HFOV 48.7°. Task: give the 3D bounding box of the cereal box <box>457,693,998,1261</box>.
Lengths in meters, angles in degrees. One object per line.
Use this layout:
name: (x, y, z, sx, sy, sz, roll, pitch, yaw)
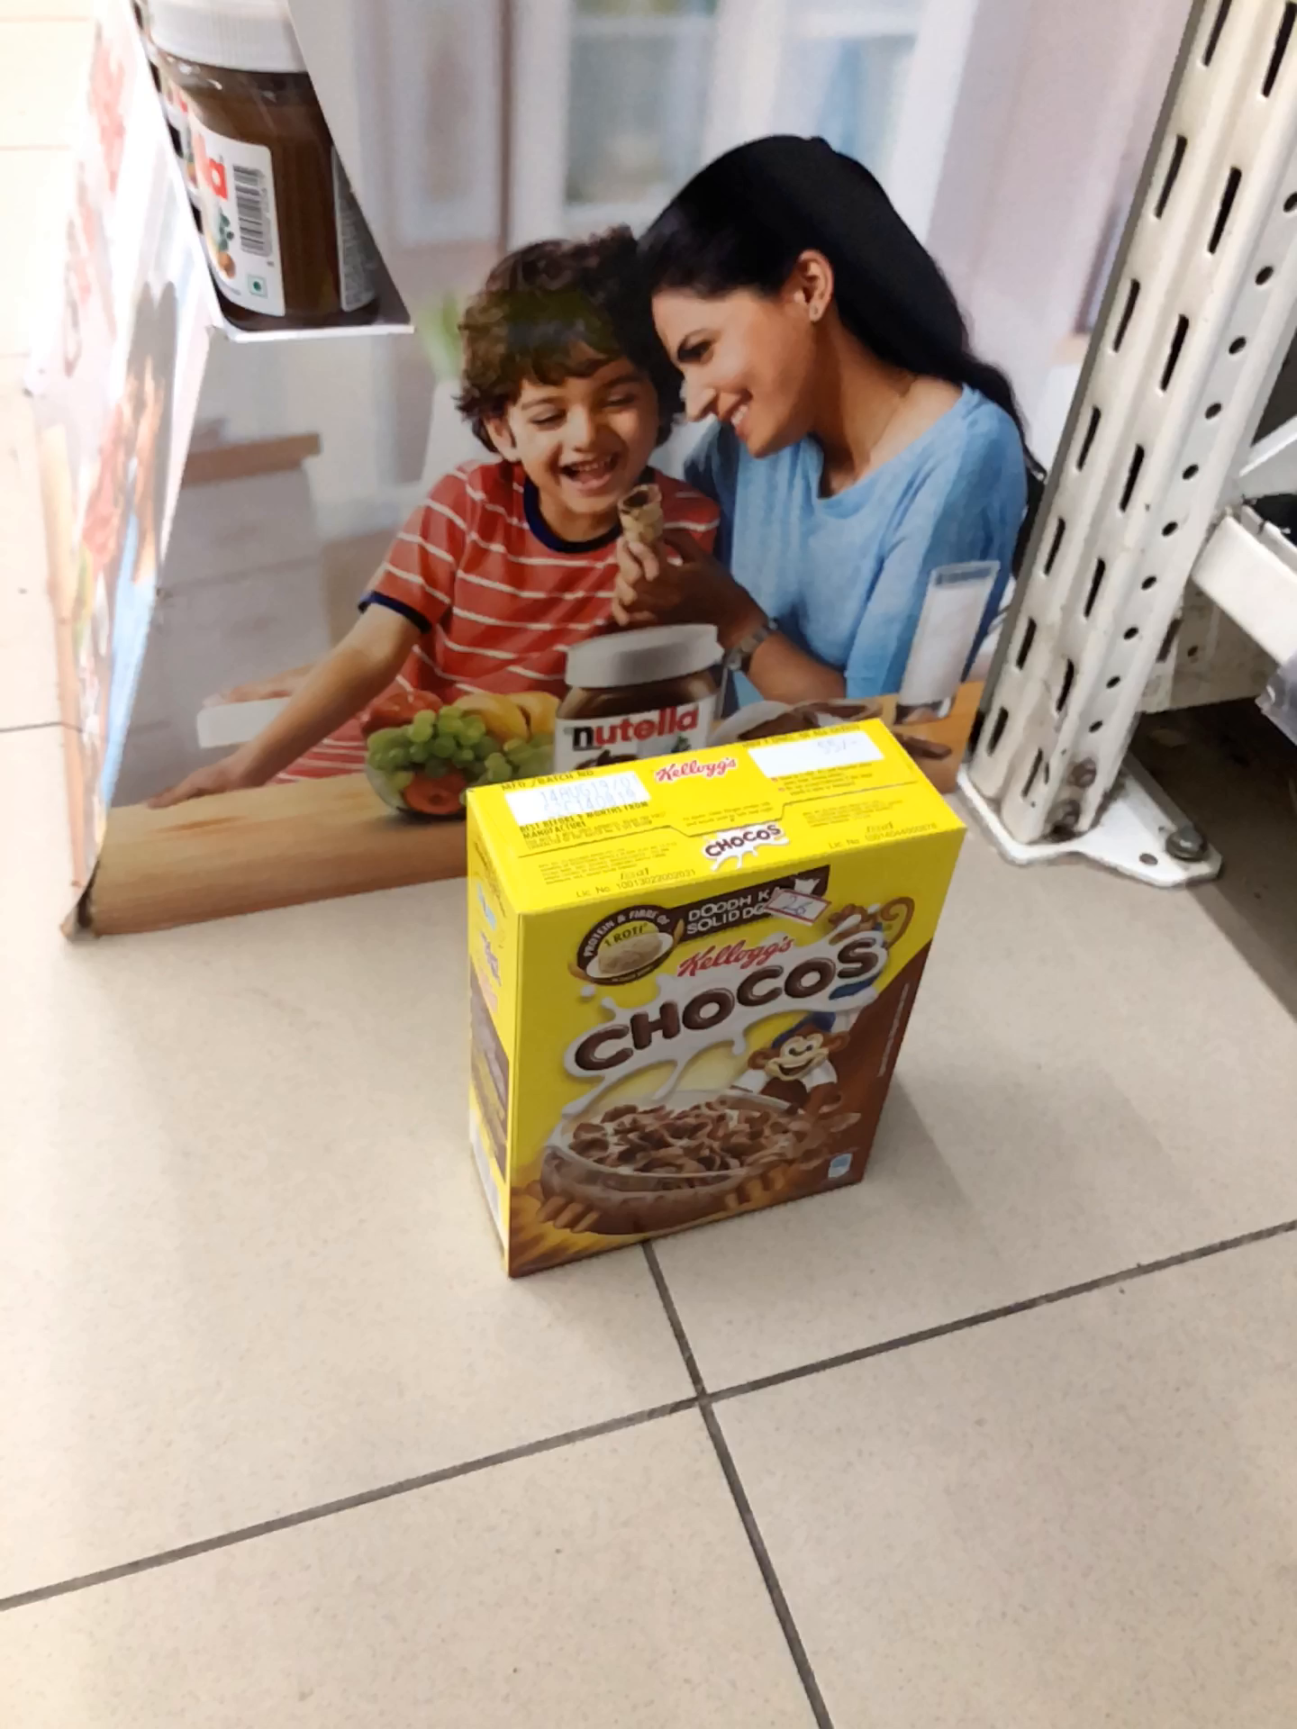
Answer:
cereal box: (0.015, 0.039, 0.448, 0.140, 0.169, 0.050, -11, 46, -18)
